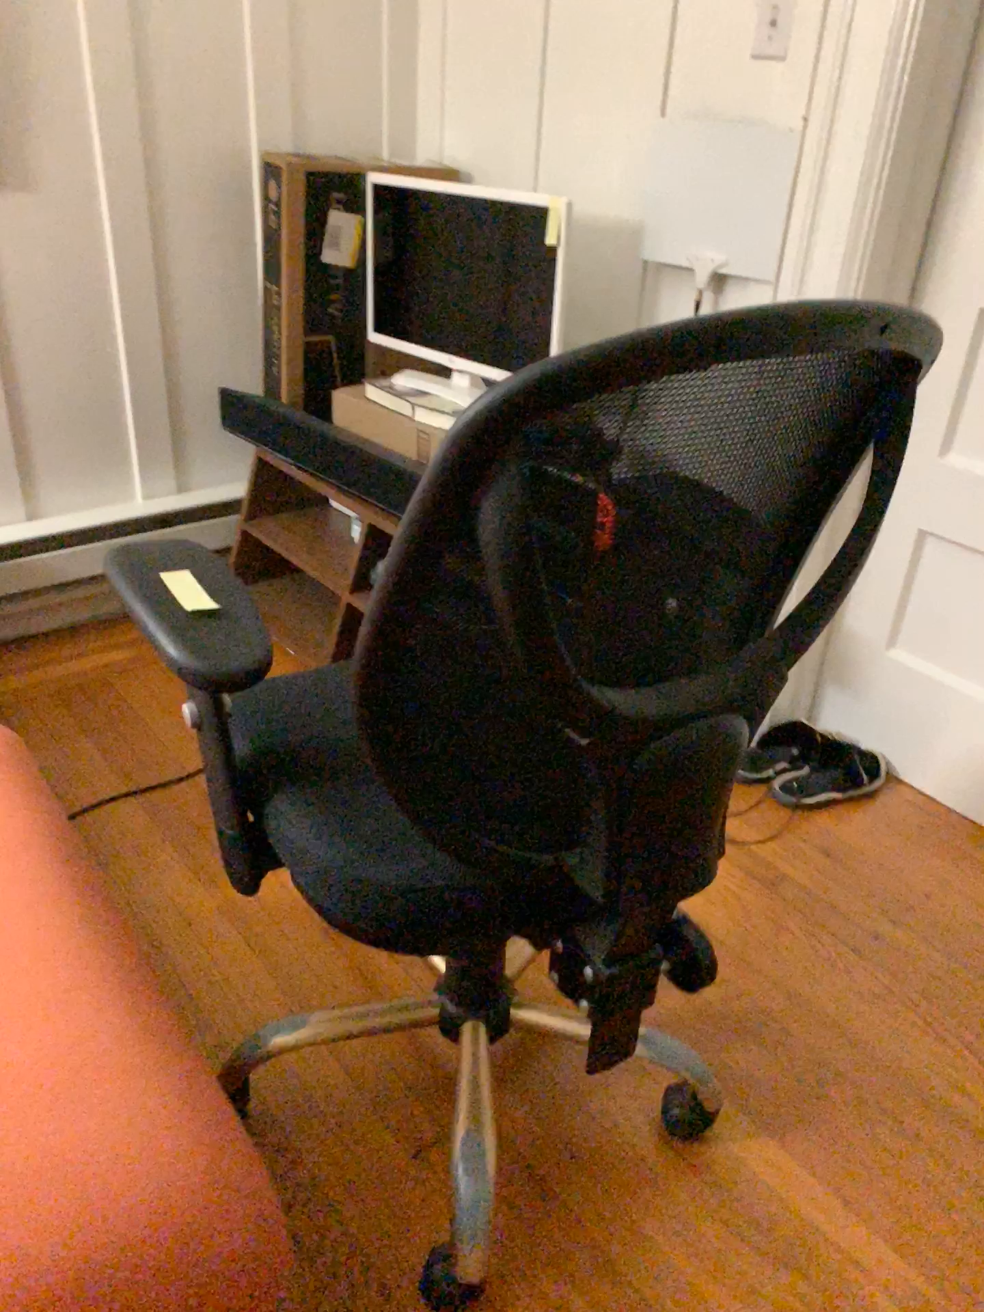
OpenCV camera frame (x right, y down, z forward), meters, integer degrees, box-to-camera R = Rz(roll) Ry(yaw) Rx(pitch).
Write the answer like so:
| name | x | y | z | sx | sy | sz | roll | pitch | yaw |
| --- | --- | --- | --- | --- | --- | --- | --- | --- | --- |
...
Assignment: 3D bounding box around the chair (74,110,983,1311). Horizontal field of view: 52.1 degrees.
| name | x | y | z | sx | sy | sz | roll | pitch | yaw |
| --- | --- | --- | --- | --- | --- | --- | --- | --- | --- |
| chair | 0.032 | 0.056 | 1.021 | 0.640 | 0.974 | 0.664 | -12 | 37 | -26 |
